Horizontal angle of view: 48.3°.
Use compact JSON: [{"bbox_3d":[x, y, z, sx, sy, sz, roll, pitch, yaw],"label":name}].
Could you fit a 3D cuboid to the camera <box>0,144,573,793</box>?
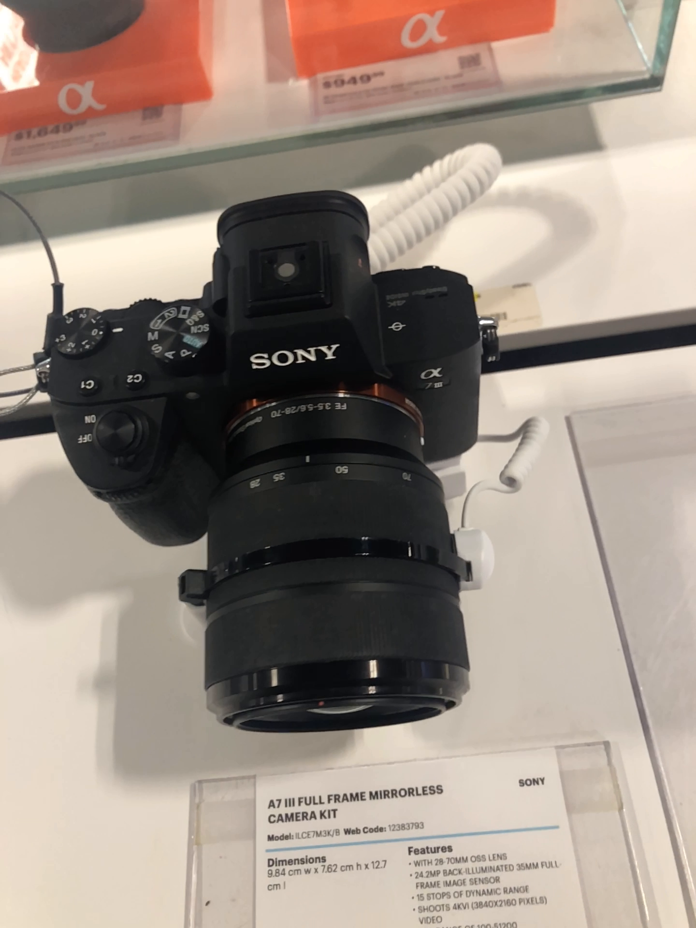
[{"bbox_3d":[-0.020,0.008,0.212,0.120,0.100,0.130,-8,60,5],"label":"camera"}]
